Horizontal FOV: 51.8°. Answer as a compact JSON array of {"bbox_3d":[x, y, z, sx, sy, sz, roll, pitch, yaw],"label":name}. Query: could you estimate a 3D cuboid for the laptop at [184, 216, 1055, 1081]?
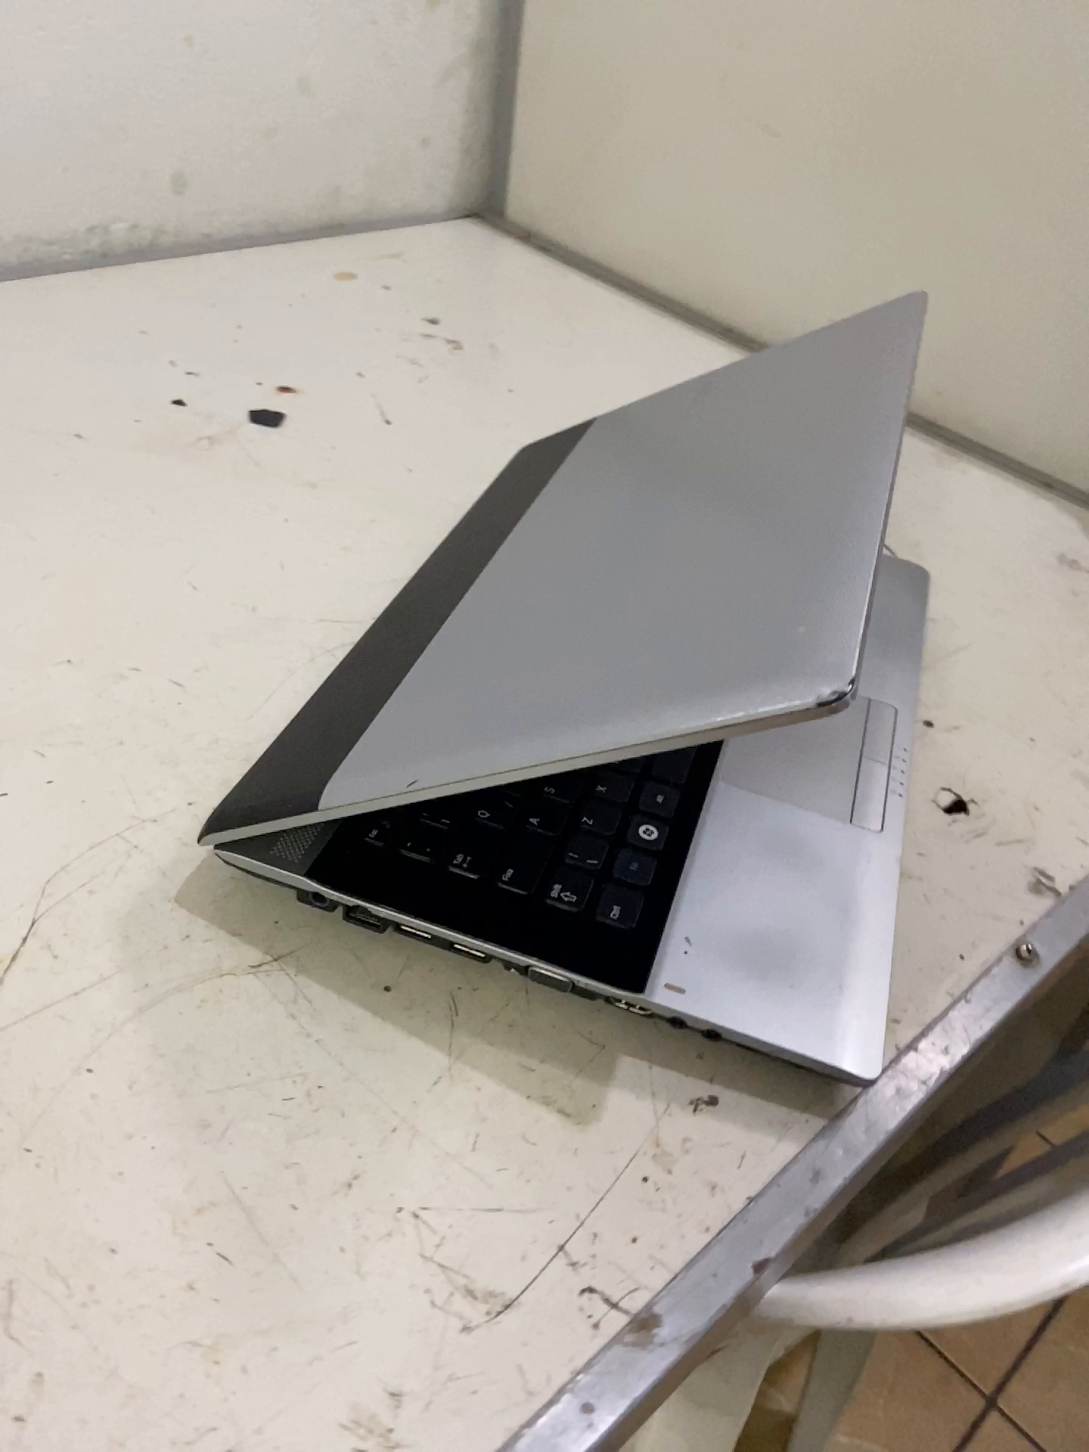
[{"bbox_3d":[0.054,-0.073,0.454,0.232,0.133,0.338,17,39,9],"label":"laptop"}]
